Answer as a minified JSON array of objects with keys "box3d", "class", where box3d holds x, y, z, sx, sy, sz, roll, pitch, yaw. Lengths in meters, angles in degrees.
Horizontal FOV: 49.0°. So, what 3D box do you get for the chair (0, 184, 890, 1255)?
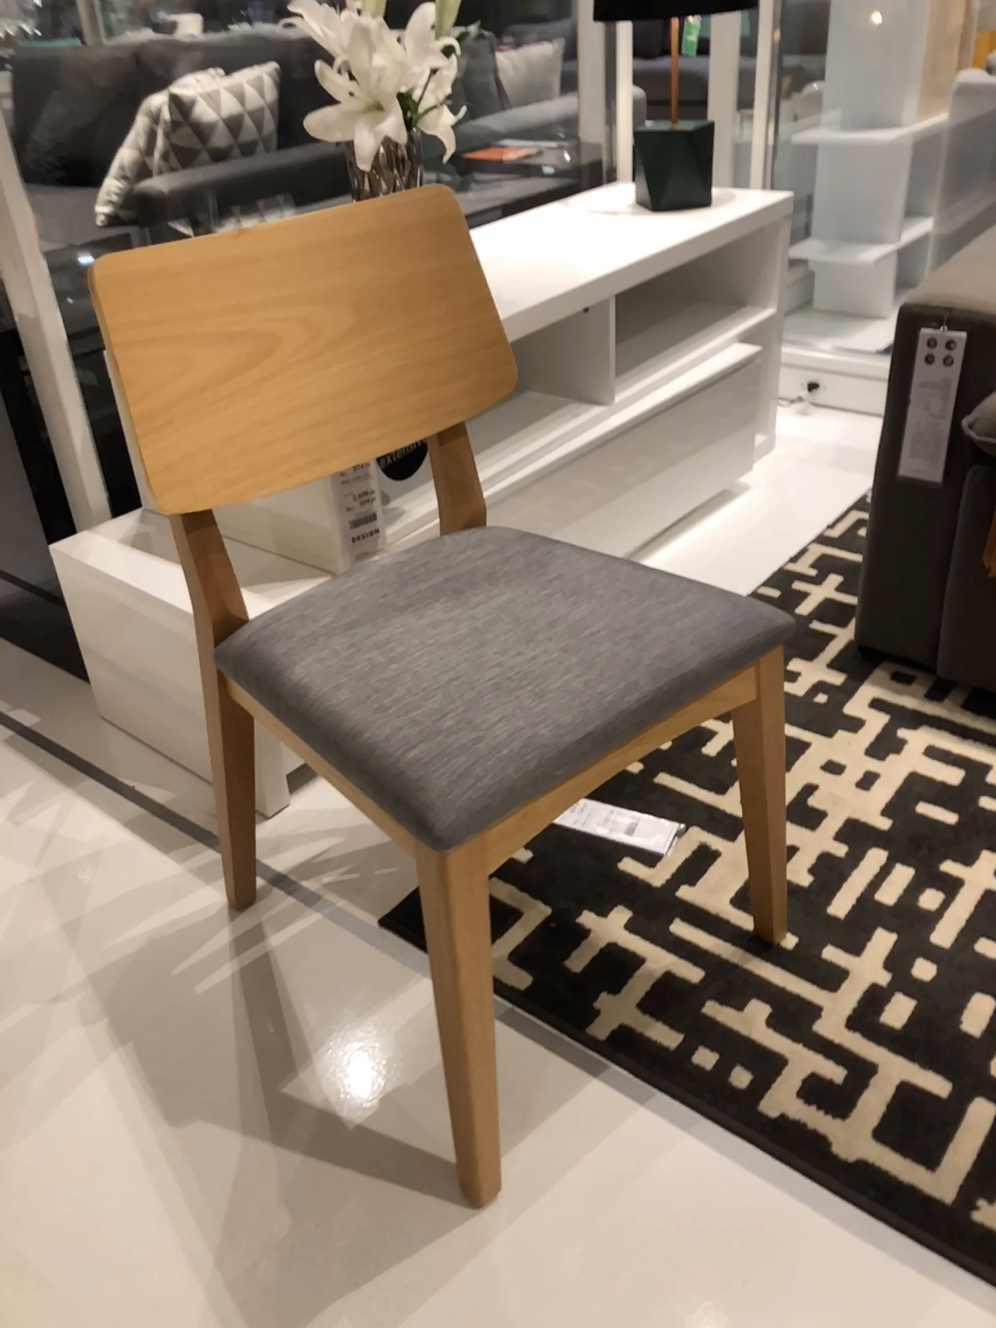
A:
[{"box3d":[-0.052,-0.006,1.136,0.542,0.794,0.583,-28,39,-33],"class":"chair"}]
